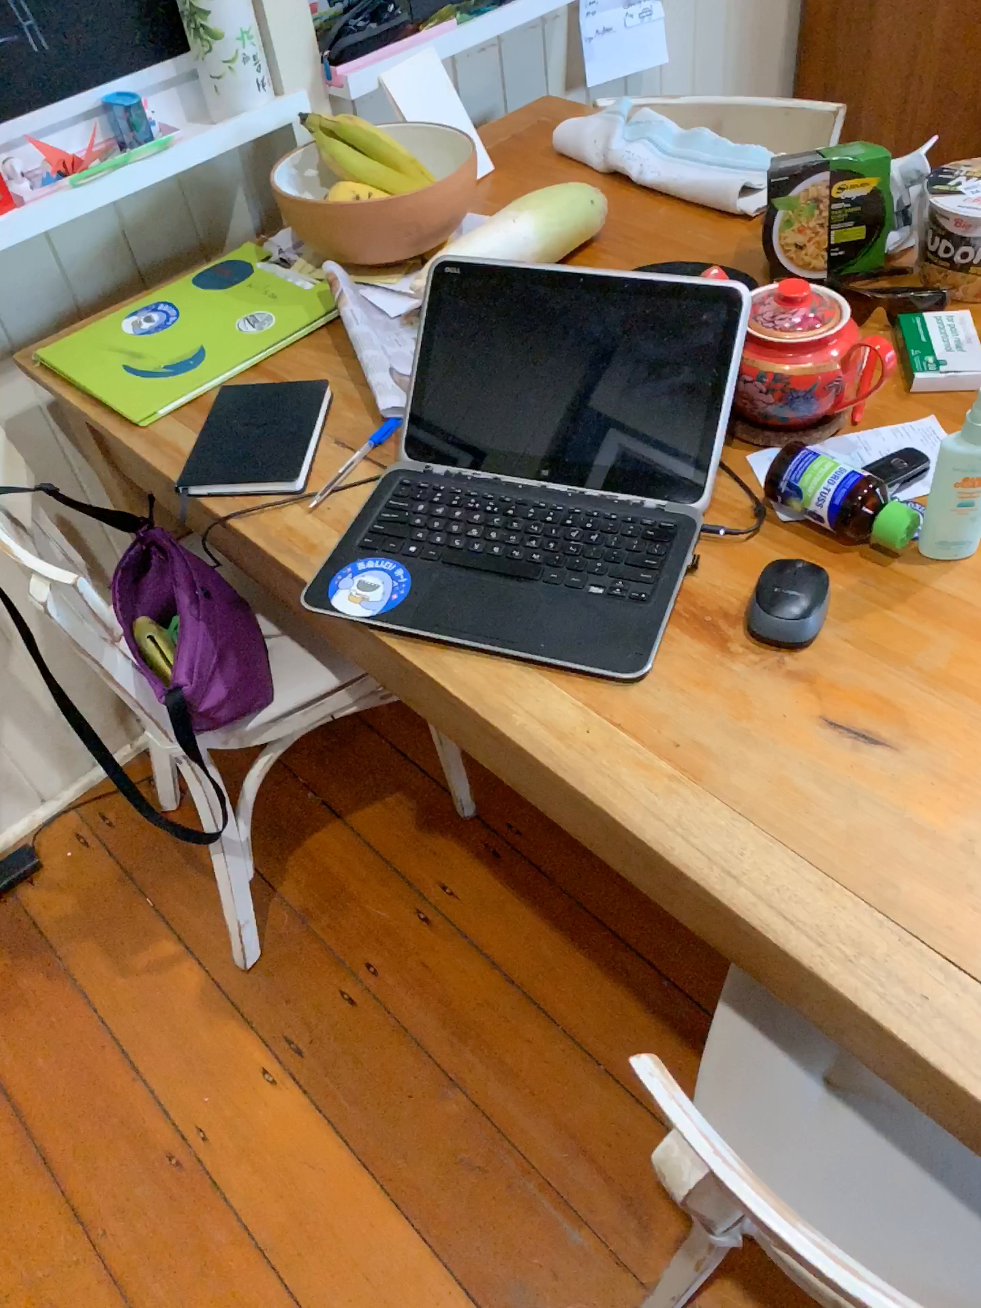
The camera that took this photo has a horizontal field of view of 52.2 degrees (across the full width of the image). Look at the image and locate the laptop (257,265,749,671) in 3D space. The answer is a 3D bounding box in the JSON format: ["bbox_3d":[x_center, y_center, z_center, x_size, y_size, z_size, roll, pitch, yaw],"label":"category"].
[{"bbox_3d":[0.032,-0.182,0.879,0.303,0.139,0.340,12,51,18],"label":"laptop"}]
